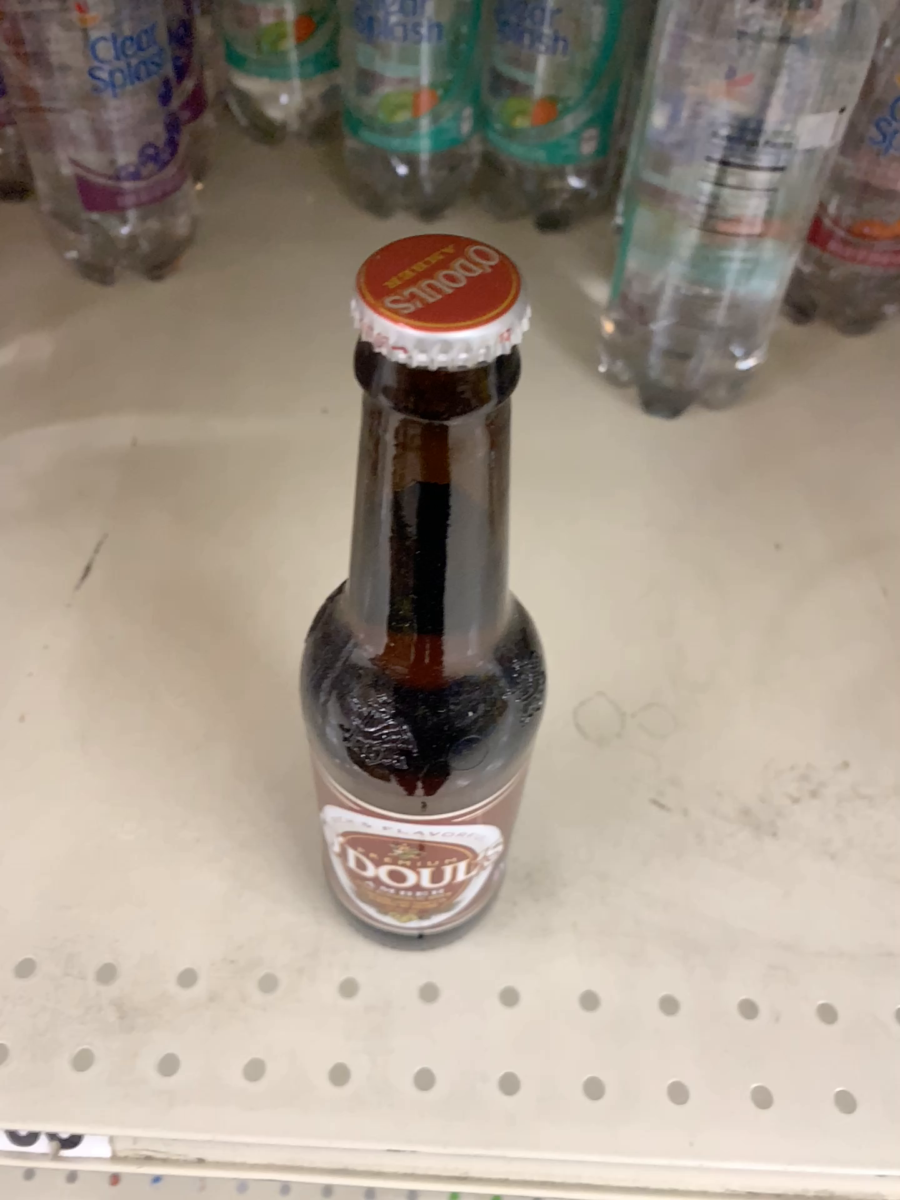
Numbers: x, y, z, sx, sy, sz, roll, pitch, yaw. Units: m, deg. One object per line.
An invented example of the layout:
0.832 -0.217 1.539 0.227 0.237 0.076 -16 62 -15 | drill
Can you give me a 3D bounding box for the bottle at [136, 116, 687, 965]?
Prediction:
-0.005 0.014 0.229 0.070 0.219 0.070 2 53 -2 | bottle
